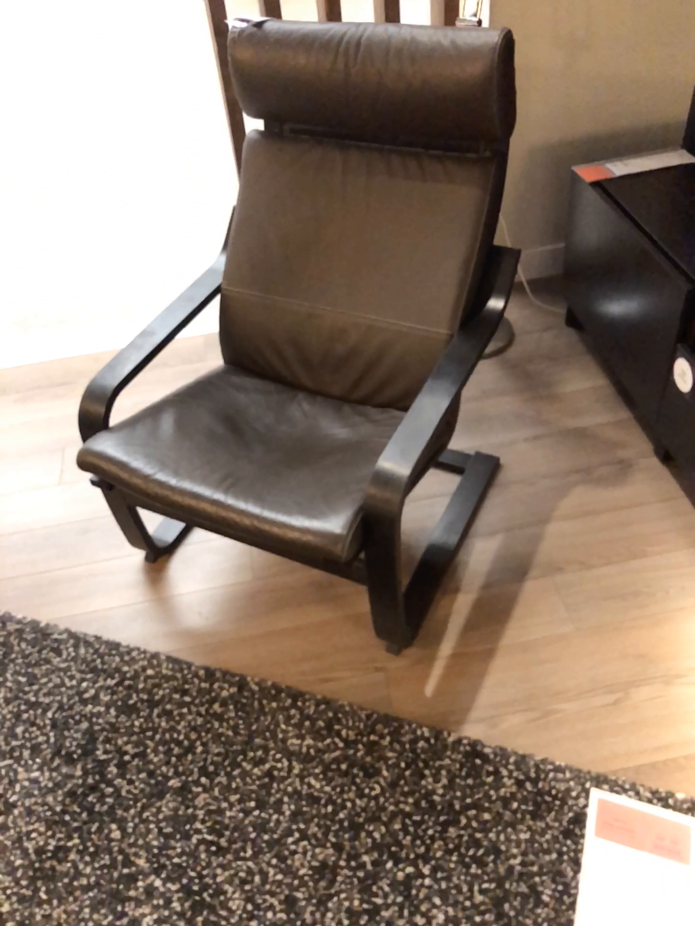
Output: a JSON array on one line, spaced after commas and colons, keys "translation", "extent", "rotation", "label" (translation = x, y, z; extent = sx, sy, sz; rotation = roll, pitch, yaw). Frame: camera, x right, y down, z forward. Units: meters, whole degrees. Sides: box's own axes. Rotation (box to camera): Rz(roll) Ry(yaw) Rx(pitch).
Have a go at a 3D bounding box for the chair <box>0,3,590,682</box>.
[{"translation": [-0.081, -0.254, 1.448], "extent": [0.781, 0.877, 0.732], "rotation": [15, 49, 21], "label": "chair"}]
